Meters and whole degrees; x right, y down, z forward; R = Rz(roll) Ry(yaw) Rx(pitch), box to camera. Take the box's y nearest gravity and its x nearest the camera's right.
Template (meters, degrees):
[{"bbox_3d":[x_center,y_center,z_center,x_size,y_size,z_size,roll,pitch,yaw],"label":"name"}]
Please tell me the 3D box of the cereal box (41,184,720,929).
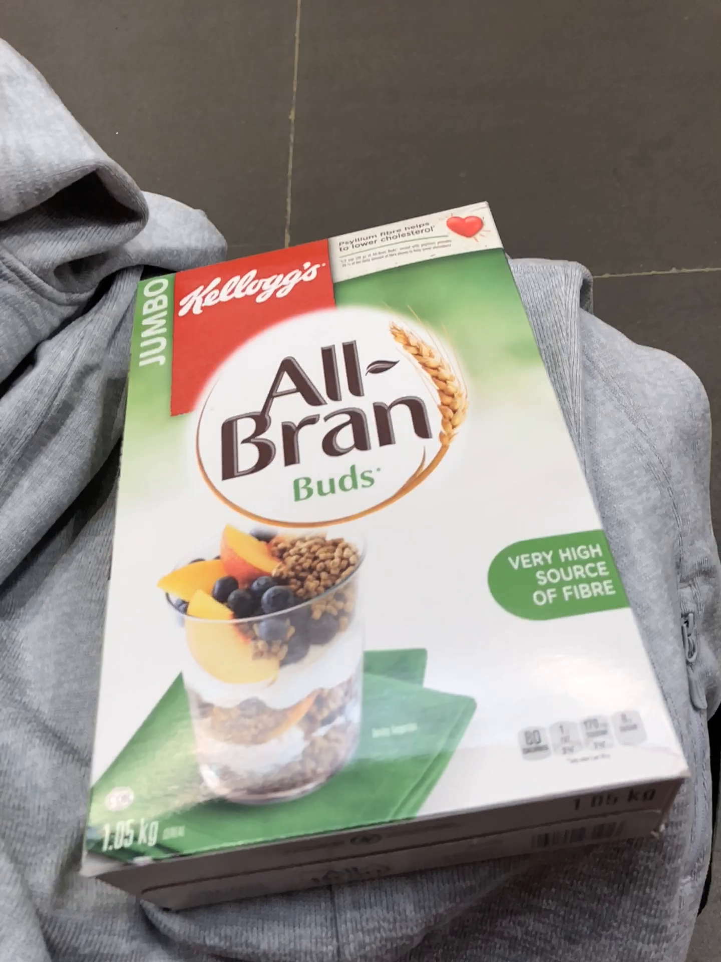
[{"bbox_3d":[-0.004,0.006,0.348,0.200,0.070,0.300,-12,51,6],"label":"cereal box"}]
